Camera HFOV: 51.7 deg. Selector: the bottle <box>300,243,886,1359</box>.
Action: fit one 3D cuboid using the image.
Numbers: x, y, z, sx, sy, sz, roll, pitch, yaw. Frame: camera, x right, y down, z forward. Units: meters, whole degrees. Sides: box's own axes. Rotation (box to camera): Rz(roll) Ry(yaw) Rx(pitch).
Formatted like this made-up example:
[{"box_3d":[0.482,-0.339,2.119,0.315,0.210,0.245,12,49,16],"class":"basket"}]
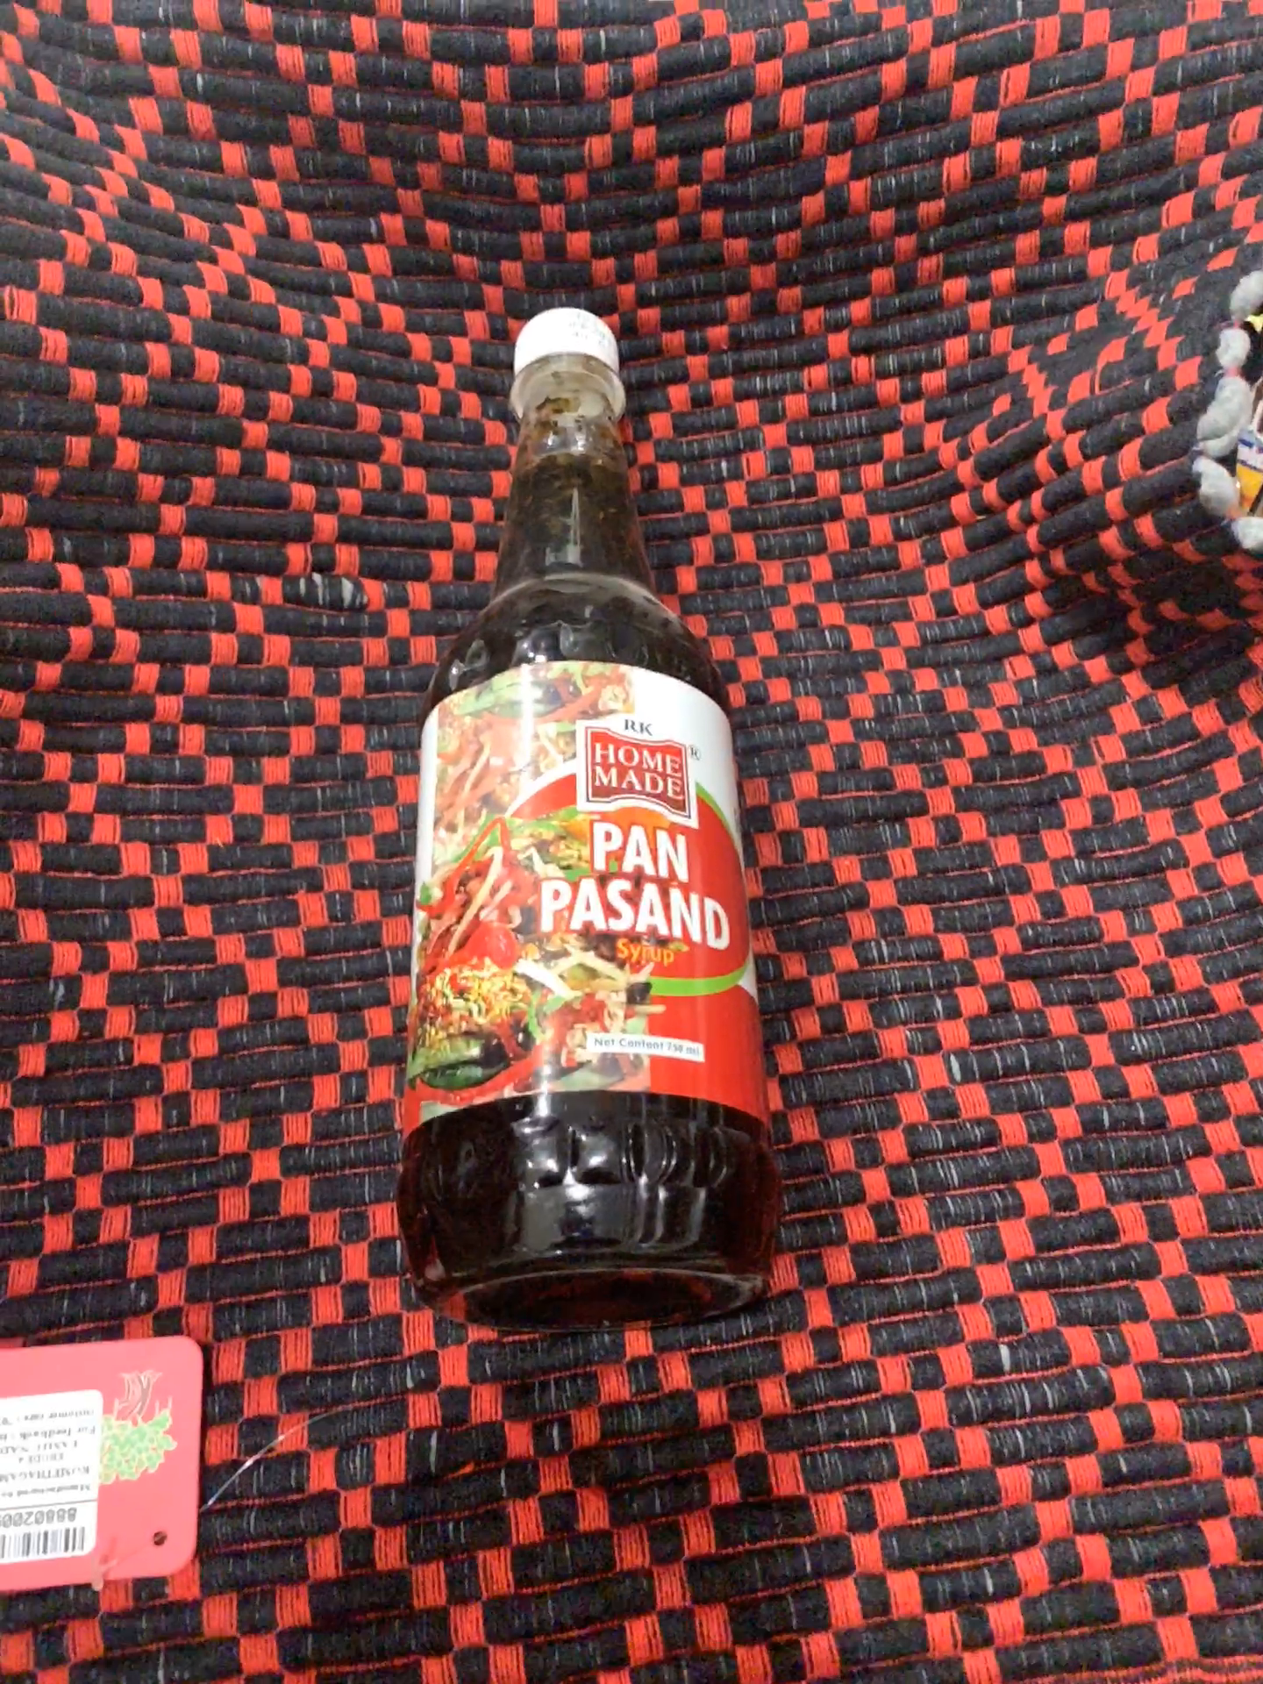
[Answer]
[{"box_3d":[-0.011,-0.033,0.317,0.090,0.080,0.281,-1,53,-1],"class":"bottle"}]
